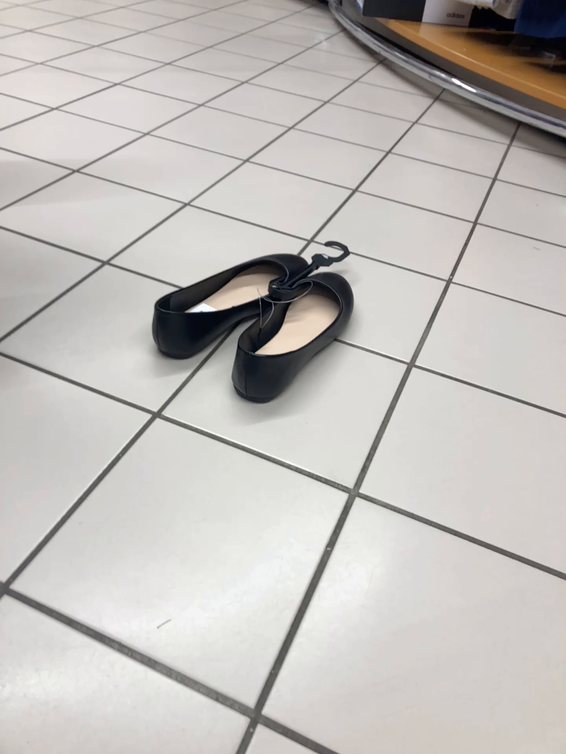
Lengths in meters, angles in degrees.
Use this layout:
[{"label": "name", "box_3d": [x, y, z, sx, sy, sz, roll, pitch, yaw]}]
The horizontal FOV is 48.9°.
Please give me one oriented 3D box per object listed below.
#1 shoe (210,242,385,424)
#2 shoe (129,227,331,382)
[{"label": "shoe", "box_3d": [0.024, -0.060, 0.678, 0.080, 0.060, 0.252, 23, 43, 18]}, {"label": "shoe", "box_3d": [-0.052, -0.094, 0.725, 0.080, 0.060, 0.252, 31, 45, 25]}]
